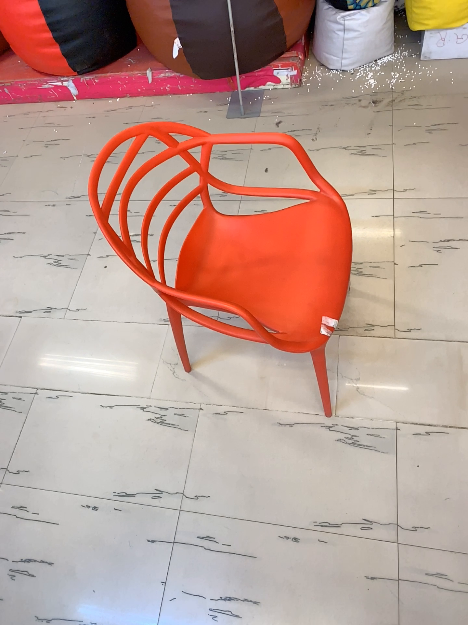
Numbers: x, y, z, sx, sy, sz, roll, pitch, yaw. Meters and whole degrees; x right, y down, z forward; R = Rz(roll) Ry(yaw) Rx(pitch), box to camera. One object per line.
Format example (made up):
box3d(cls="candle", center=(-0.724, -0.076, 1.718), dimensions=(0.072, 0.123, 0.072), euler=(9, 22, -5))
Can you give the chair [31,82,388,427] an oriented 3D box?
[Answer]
box3d(cls="chair", center=(0.026, -0.123, 1.251), dimensions=(0.631, 0.656, 0.553), euler=(6, 60, 15))
